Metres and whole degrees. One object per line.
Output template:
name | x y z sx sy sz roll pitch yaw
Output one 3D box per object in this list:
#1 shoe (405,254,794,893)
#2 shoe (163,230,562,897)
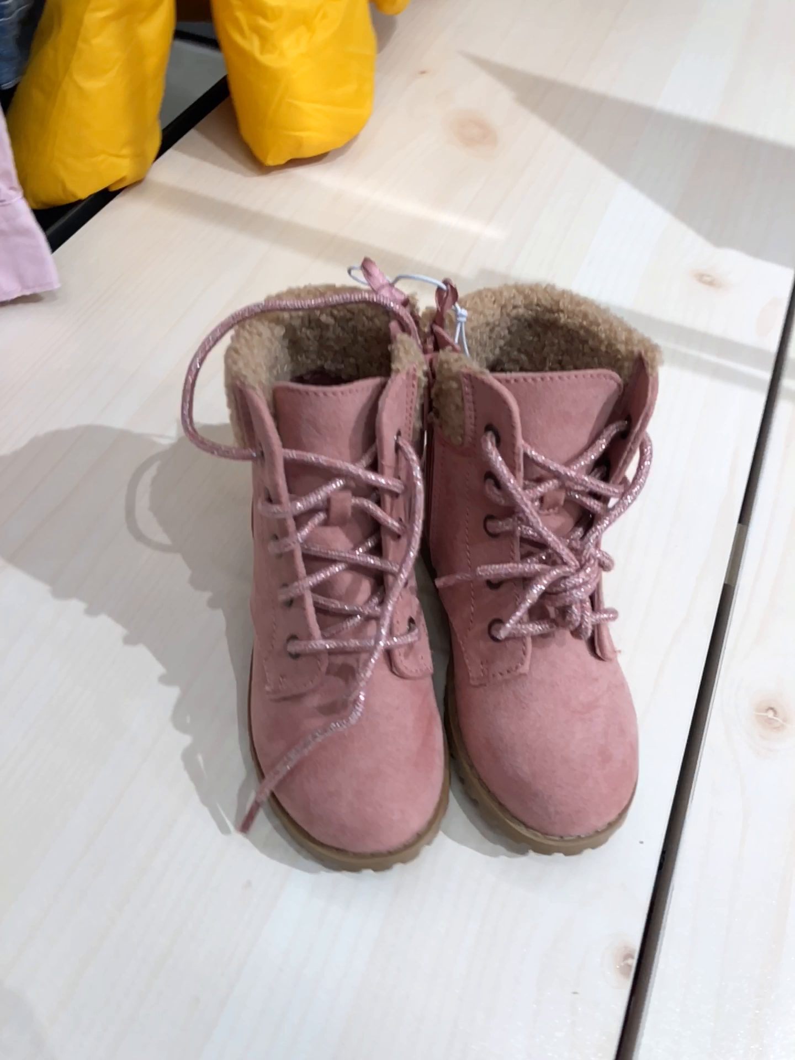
shoe | 0.057 0.012 0.284 0.080 0.120 0.160 -4 53 -7
shoe | -0.020 0.008 0.271 0.080 0.120 0.160 -4 53 -7
